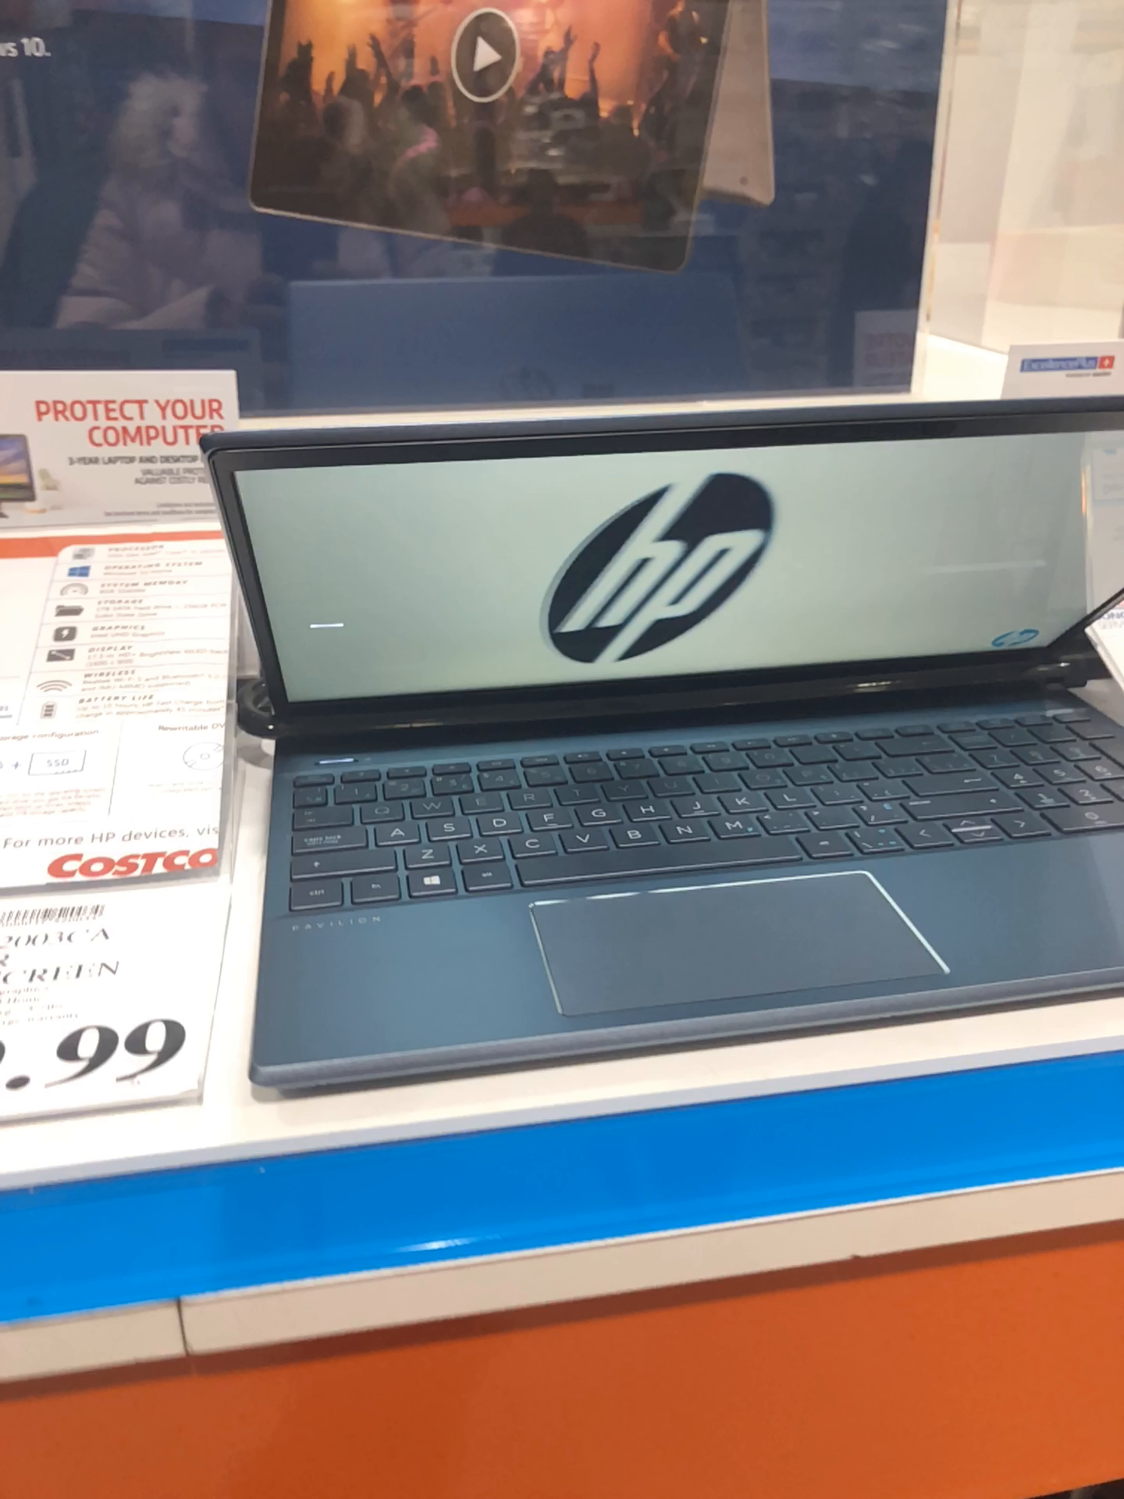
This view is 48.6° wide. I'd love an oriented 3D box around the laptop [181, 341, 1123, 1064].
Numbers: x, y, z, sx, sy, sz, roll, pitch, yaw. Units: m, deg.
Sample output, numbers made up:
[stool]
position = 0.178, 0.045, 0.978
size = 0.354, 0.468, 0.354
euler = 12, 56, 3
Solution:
[laptop]
position = 0.070, -0.043, 0.420
size = 0.346, 0.149, 0.219
euler = -5, 25, -9
